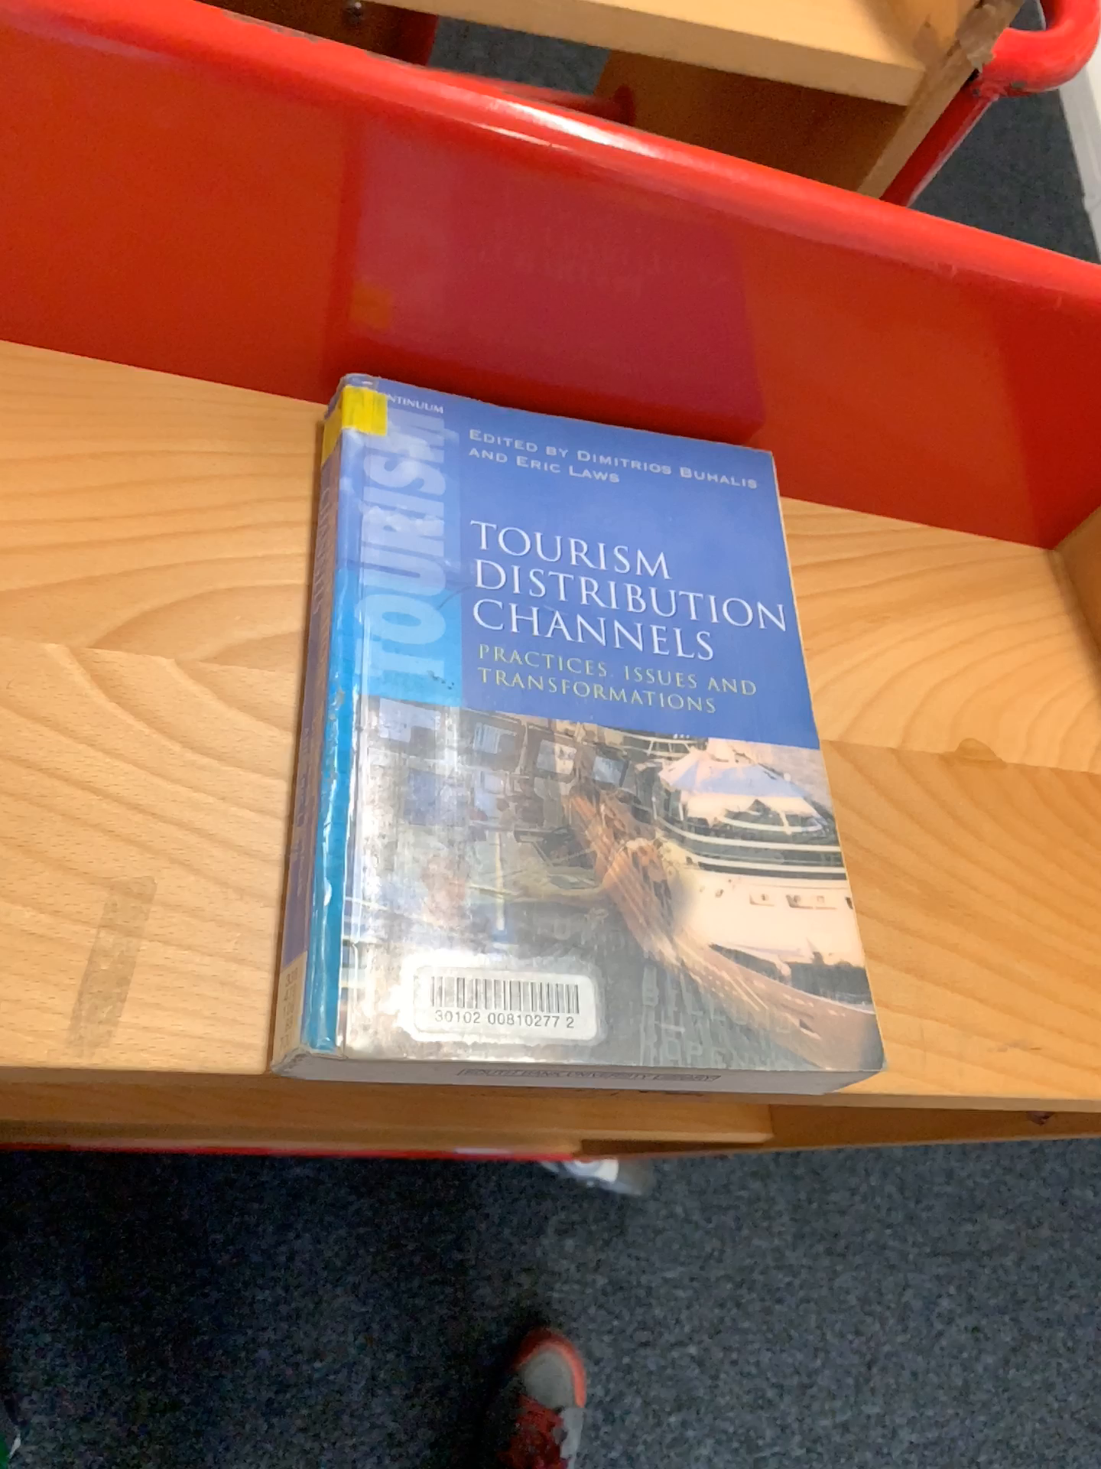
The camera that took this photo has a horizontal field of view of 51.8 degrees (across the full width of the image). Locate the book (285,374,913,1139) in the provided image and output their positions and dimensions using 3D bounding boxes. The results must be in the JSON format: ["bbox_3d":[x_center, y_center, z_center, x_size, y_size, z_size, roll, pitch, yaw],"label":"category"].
[{"bbox_3d":[0.012,-0.001,0.361,0.167,0.031,0.239,8,58,-17],"label":"book"}]
